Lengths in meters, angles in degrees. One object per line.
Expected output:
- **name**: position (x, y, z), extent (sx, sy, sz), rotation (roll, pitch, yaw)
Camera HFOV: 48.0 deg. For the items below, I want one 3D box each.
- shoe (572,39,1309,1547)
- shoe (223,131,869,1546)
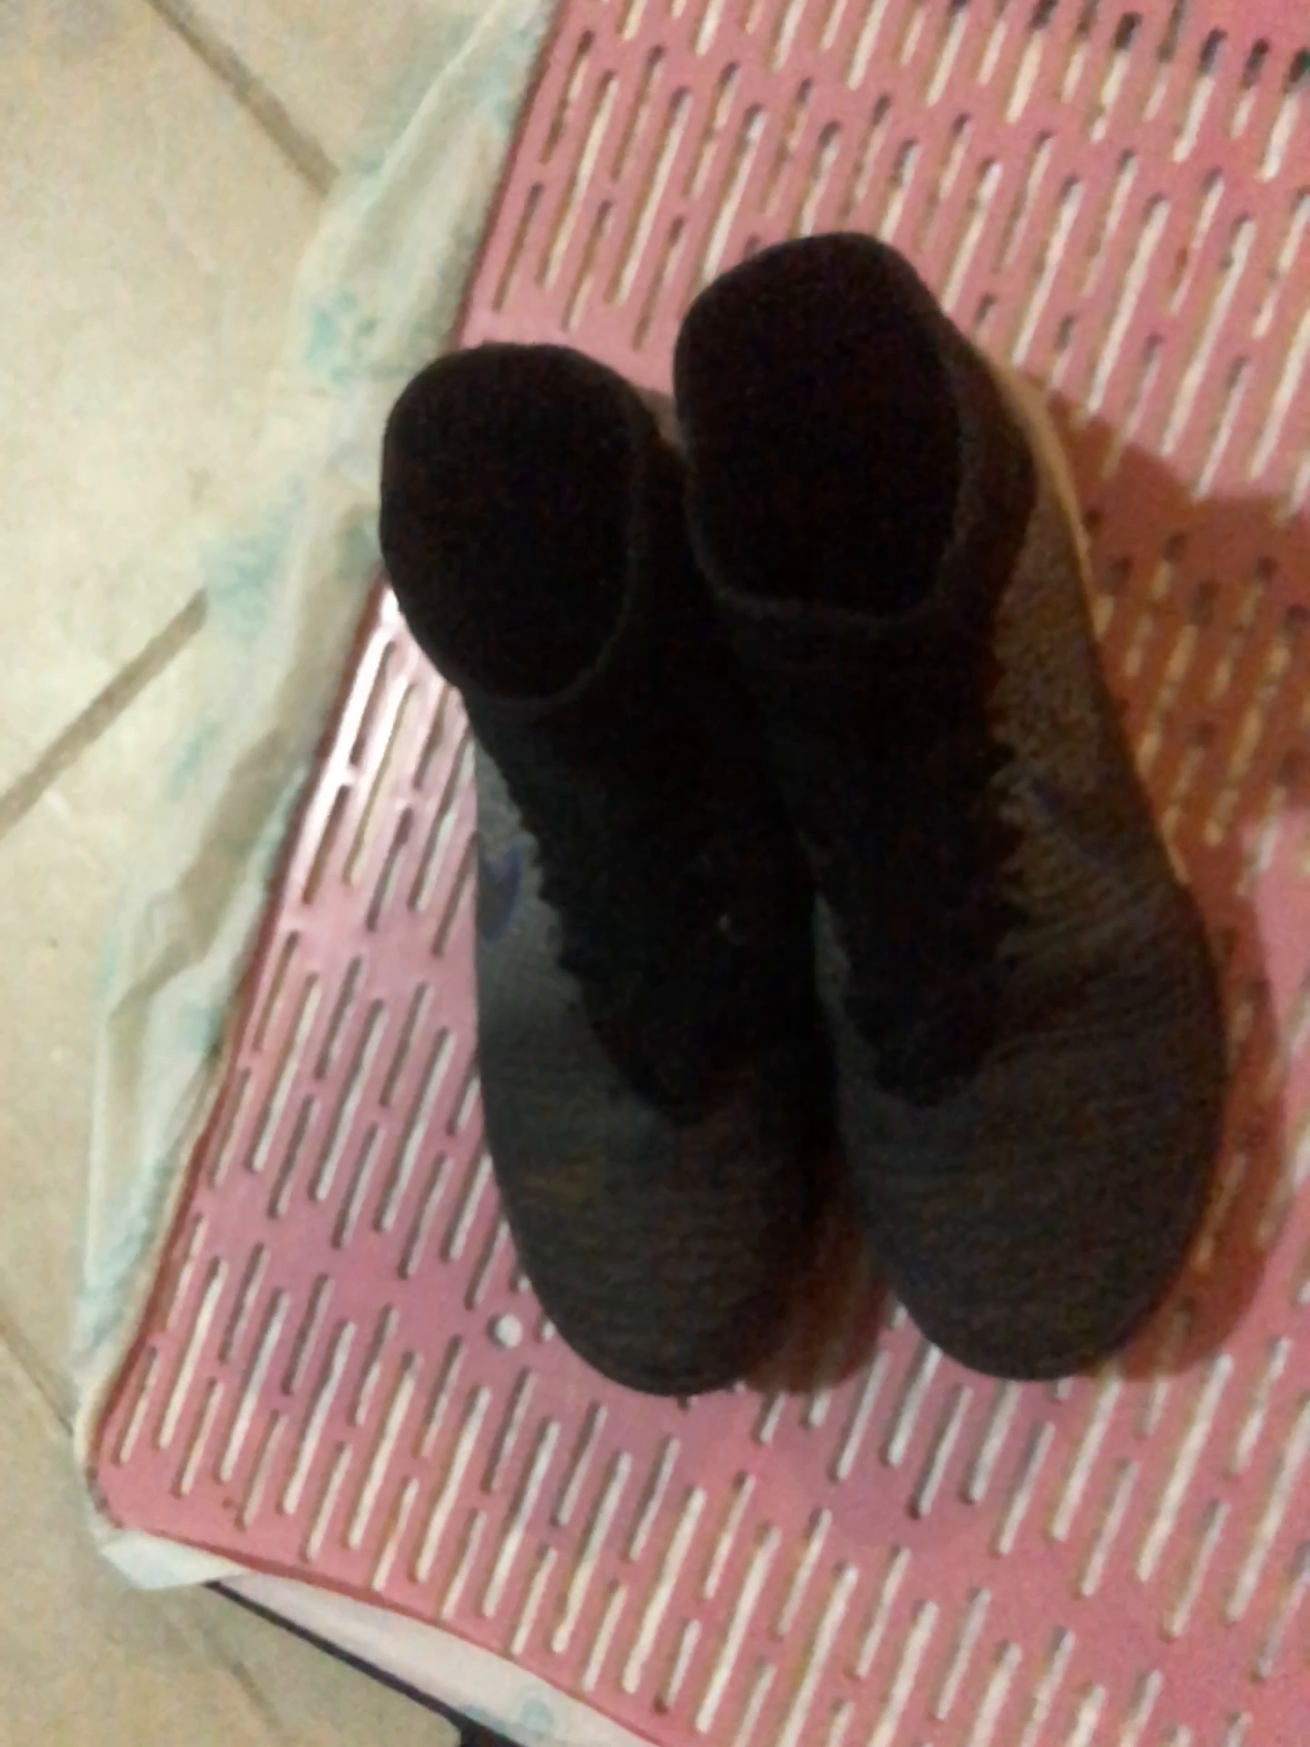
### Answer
- **shoe**: position (0.074, -0.011, 0.340), extent (0.100, 0.150, 0.260), rotation (-12, 85, 14)
- **shoe**: position (-0.015, -0.004, 0.365), extent (0.100, 0.150, 0.270), rotation (-4, 87, 15)
